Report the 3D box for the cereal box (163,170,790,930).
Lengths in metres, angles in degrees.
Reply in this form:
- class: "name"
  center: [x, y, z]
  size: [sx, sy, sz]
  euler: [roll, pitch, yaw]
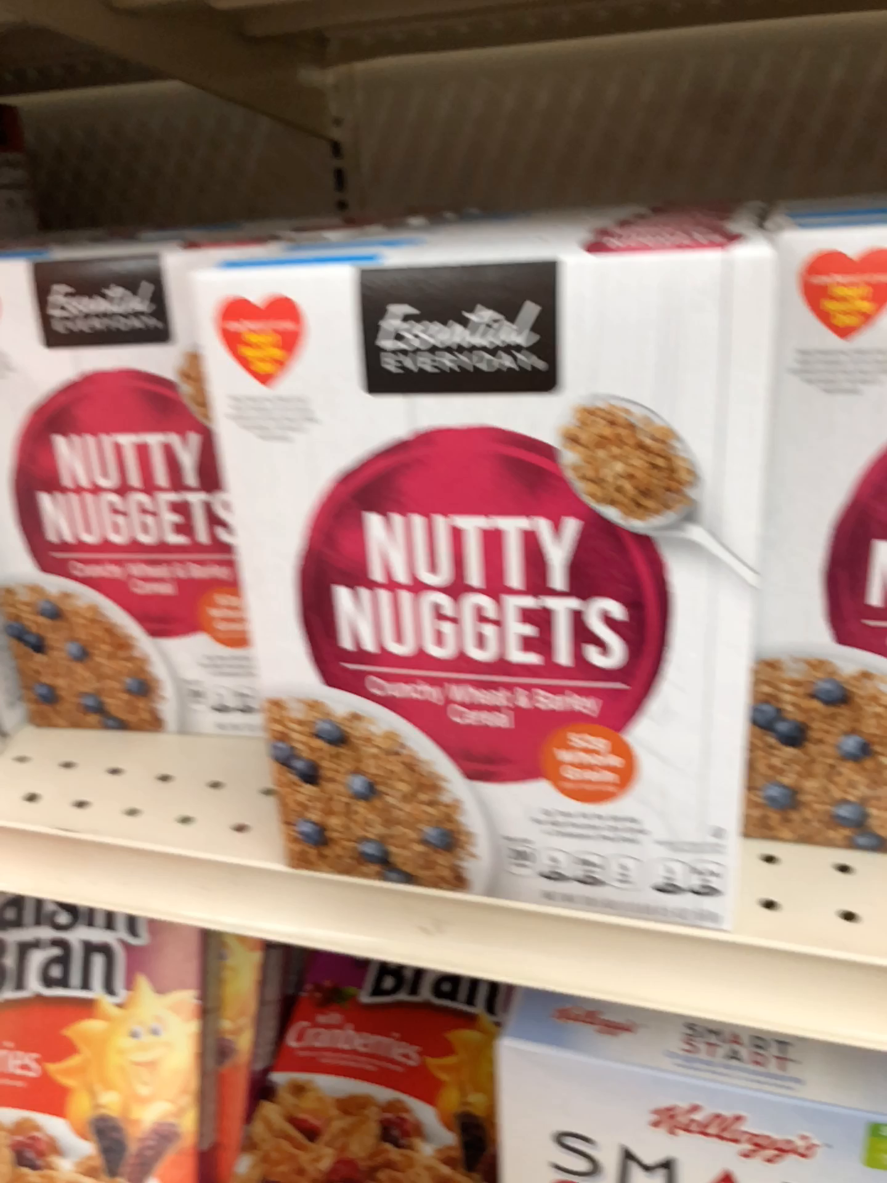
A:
- class: "cereal box"
  center: [0.016, -0.008, 0.328]
  size: [0.170, 0.229, 0.050]
  euler: [3, 24, 16]
